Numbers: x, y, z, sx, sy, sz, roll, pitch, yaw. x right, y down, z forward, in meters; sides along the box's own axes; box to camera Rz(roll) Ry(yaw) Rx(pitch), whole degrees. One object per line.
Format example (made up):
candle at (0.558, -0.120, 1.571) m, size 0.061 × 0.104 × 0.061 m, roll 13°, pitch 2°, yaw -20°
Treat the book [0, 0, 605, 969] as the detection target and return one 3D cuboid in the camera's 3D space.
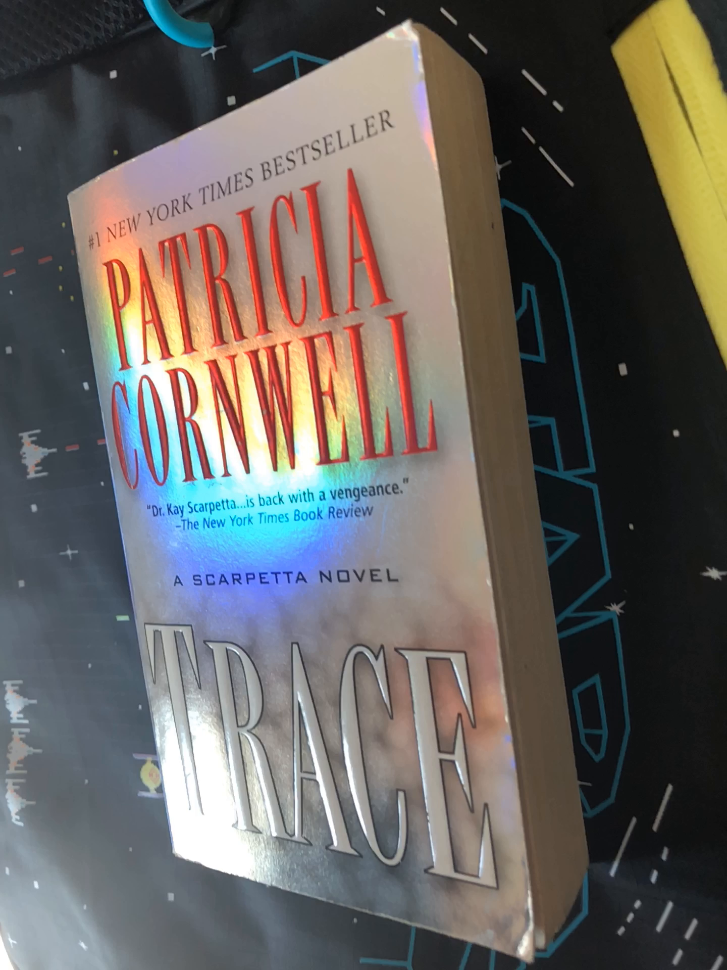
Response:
book at (-0.022, 0.005, 0.183) m, size 0.121 × 0.040 × 0.170 m, roll -6°, pitch 93°, yaw 39°
